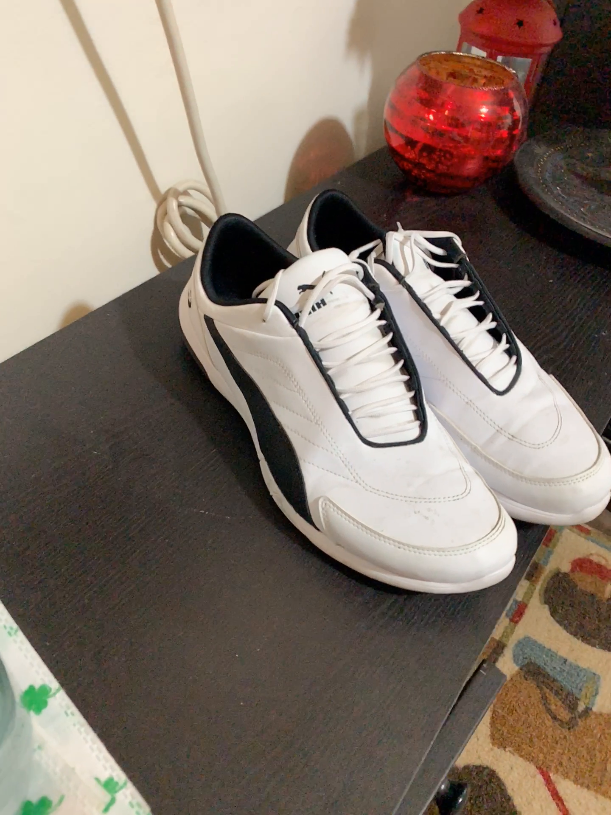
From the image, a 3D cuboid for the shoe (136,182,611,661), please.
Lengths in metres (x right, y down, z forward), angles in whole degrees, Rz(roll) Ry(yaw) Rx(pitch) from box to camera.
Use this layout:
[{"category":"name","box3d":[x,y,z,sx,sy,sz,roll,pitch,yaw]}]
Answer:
[{"category":"shoe","box3d":[0.016,-0.016,0.383,0.120,0.089,0.282,-23,56,-27]}]

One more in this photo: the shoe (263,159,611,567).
[{"category":"shoe","box3d":[0.093,-0.051,0.432,0.100,0.089,0.292,-23,56,-27]}]
